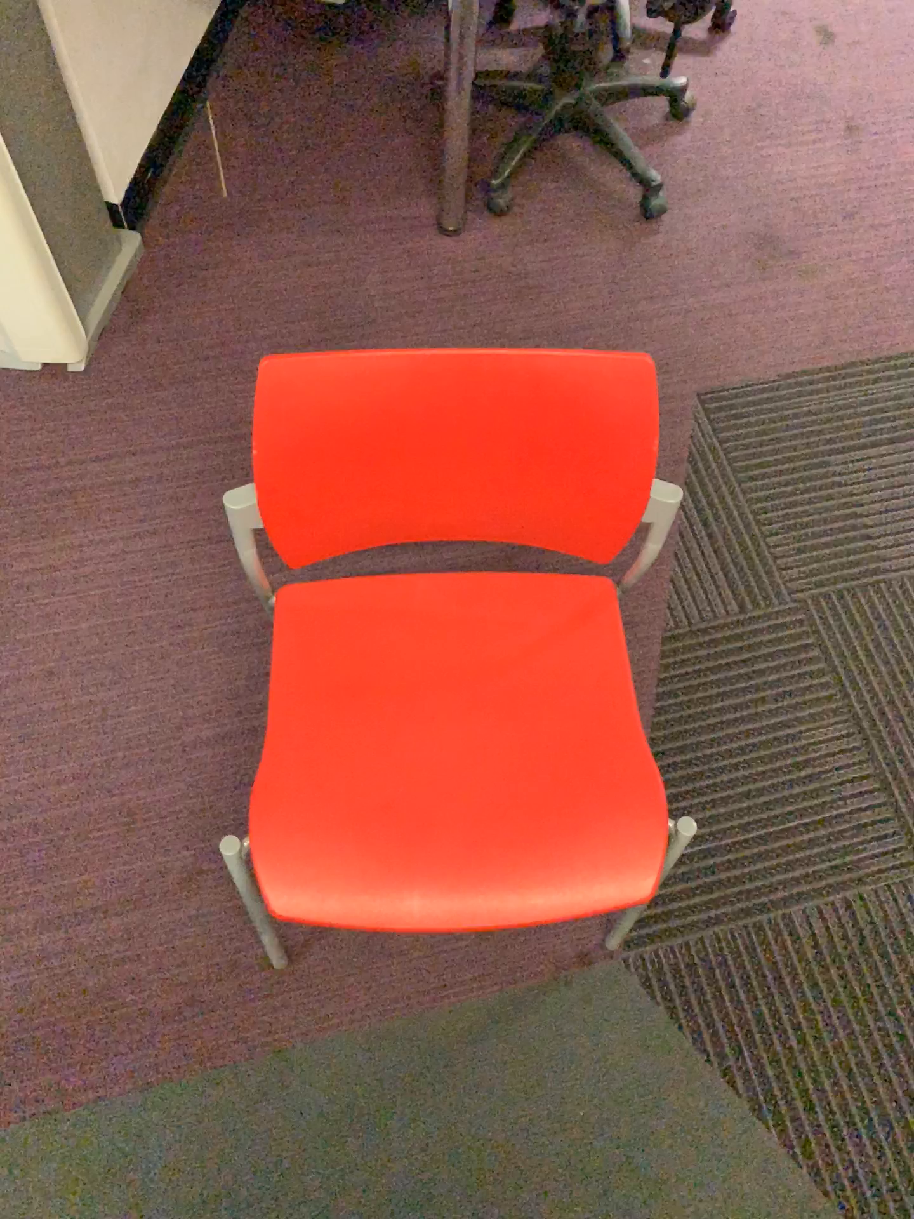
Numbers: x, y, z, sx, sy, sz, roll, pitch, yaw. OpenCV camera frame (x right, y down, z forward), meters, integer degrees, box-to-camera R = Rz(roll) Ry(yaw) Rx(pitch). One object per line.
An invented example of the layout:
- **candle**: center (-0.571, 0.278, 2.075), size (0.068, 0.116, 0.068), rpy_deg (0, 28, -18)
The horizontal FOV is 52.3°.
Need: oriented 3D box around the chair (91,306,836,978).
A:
- **chair**: center (0.007, 0.103, 1.109), size (0.540, 0.686, 0.563), rpy_deg (0, 63, 0)
